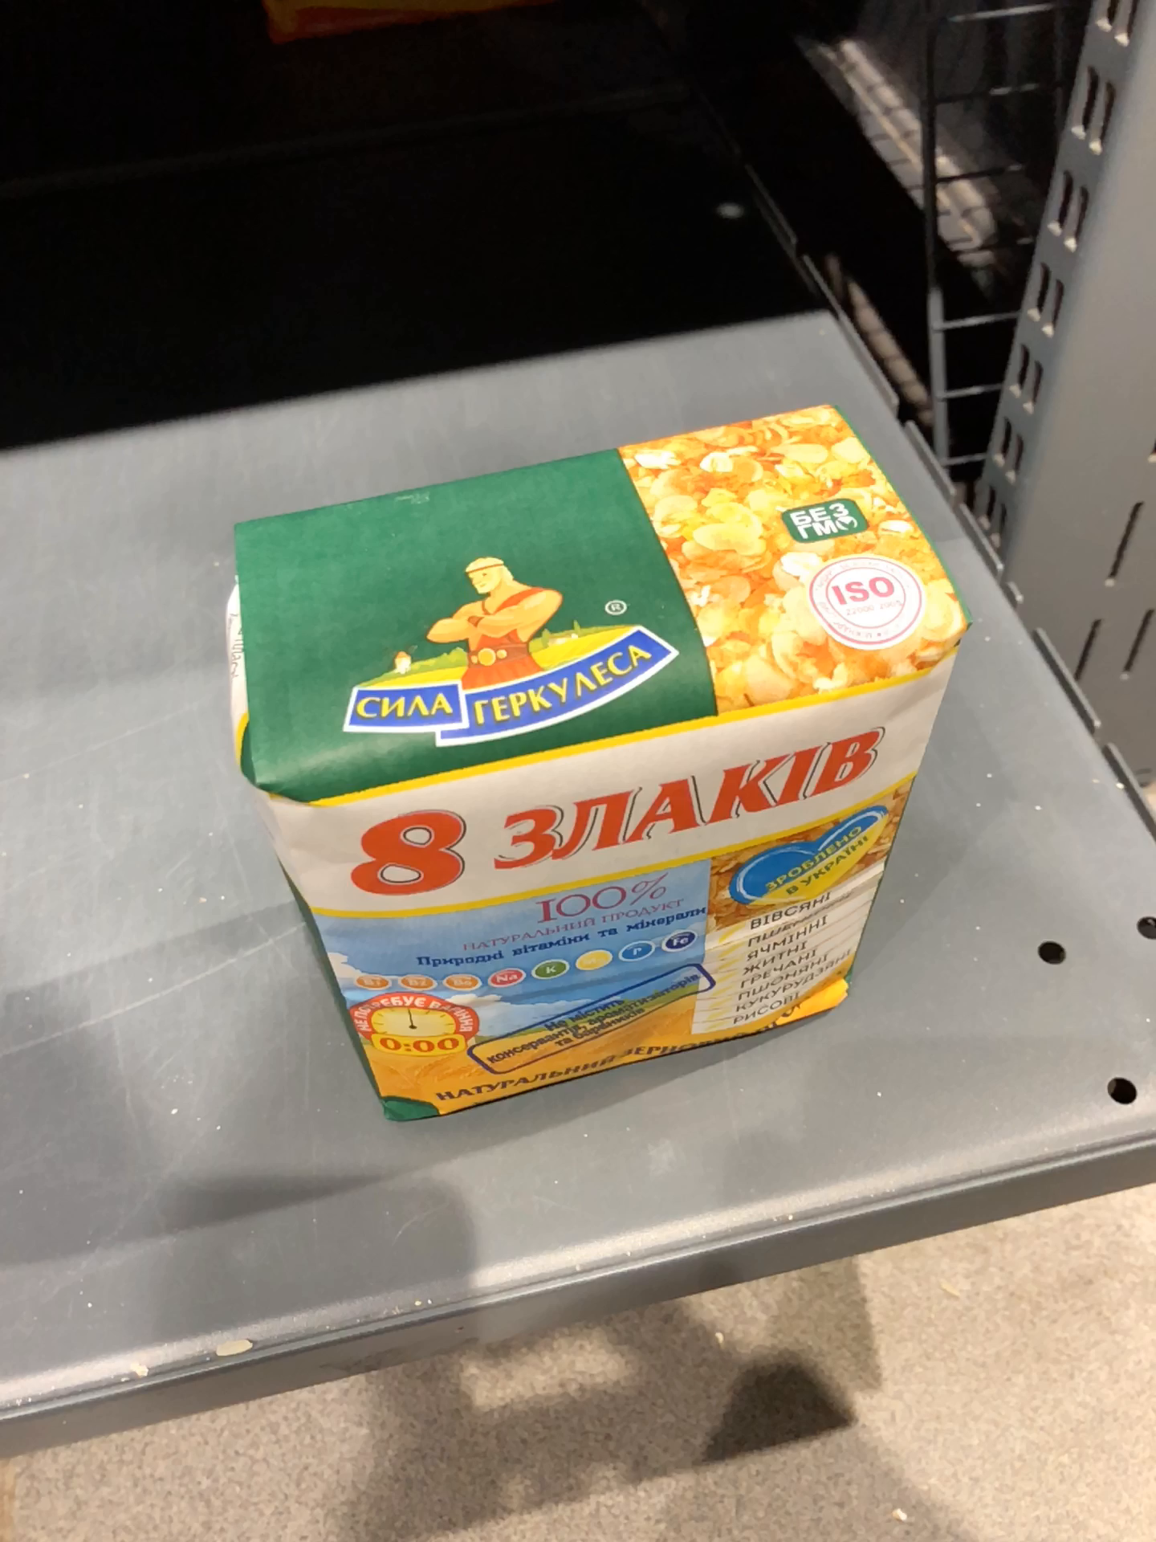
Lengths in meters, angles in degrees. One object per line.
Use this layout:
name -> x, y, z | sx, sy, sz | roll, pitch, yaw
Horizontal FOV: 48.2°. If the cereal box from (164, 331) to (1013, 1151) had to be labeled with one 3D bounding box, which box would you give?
cereal box -> 0.000, 0.001, 0.253 | 0.120, 0.129, 0.070 | -13, 51, -7
